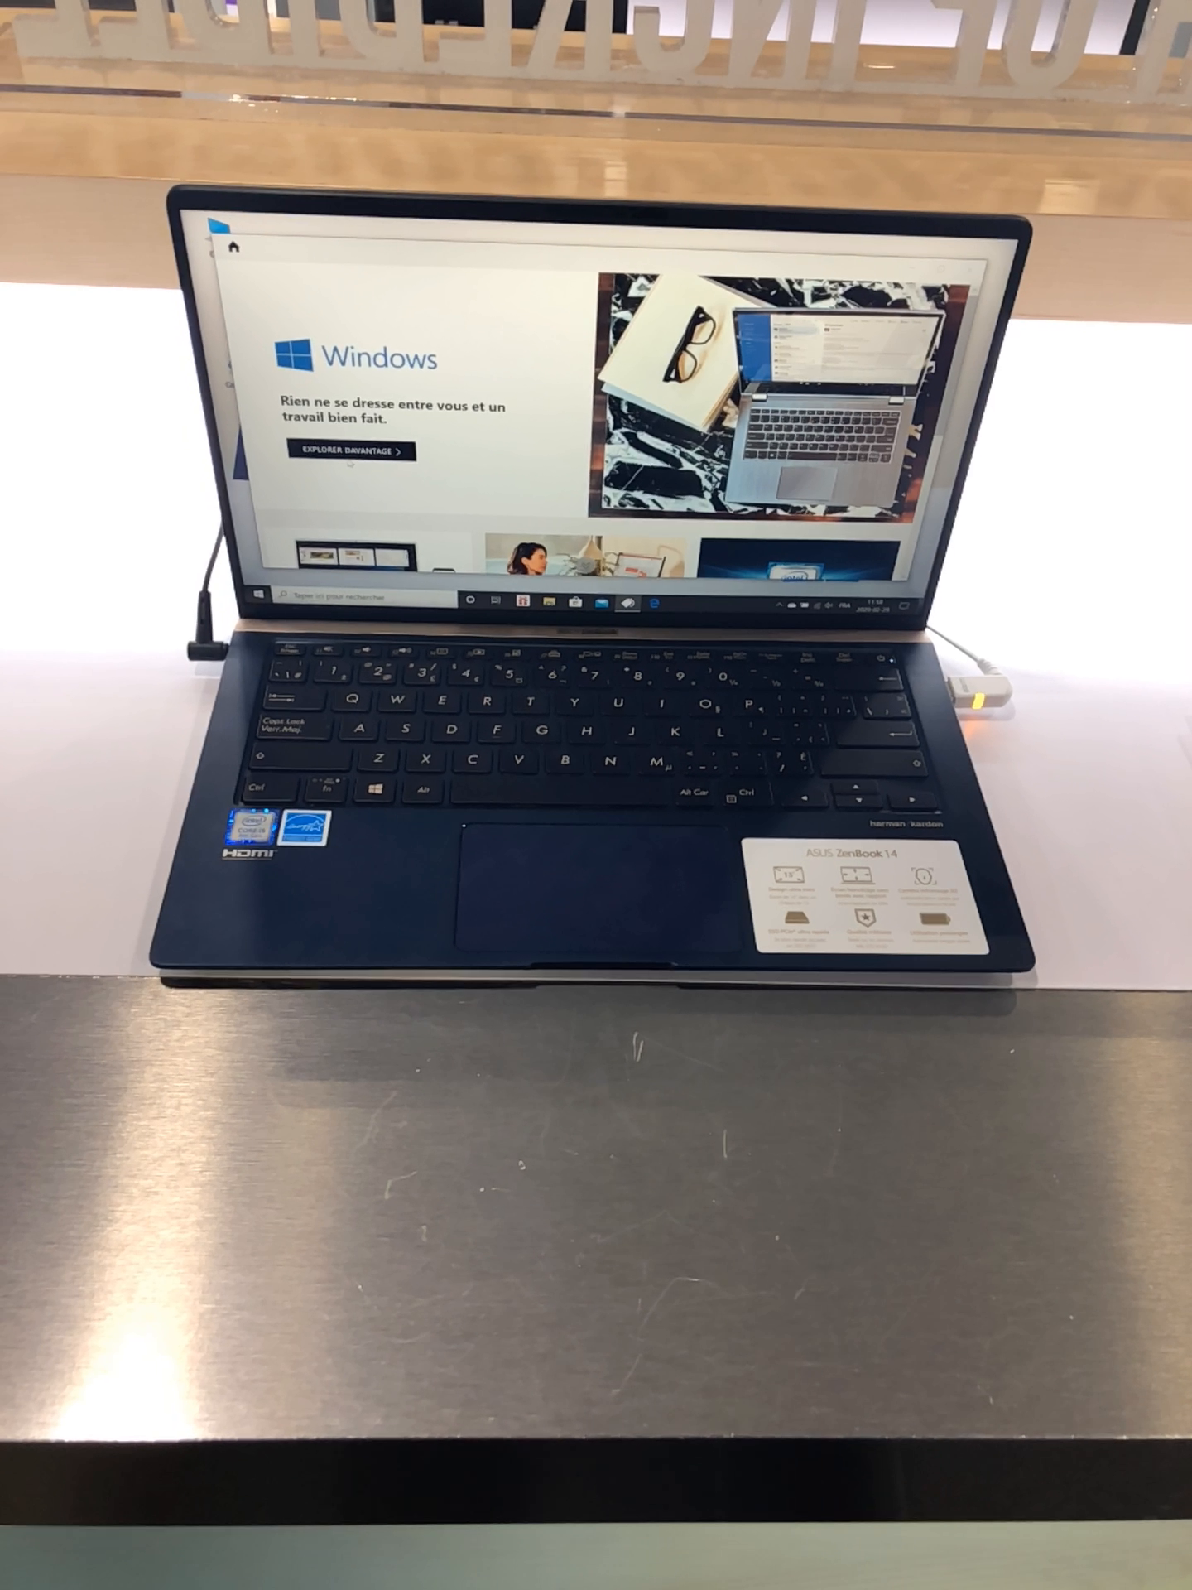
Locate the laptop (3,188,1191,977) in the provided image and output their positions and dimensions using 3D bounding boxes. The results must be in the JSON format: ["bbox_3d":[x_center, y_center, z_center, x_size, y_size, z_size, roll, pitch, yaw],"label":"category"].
[{"bbox_3d":[0.004,-0.071,0.448,0.301,0.182,0.192,0,45,-4],"label":"laptop"}]
